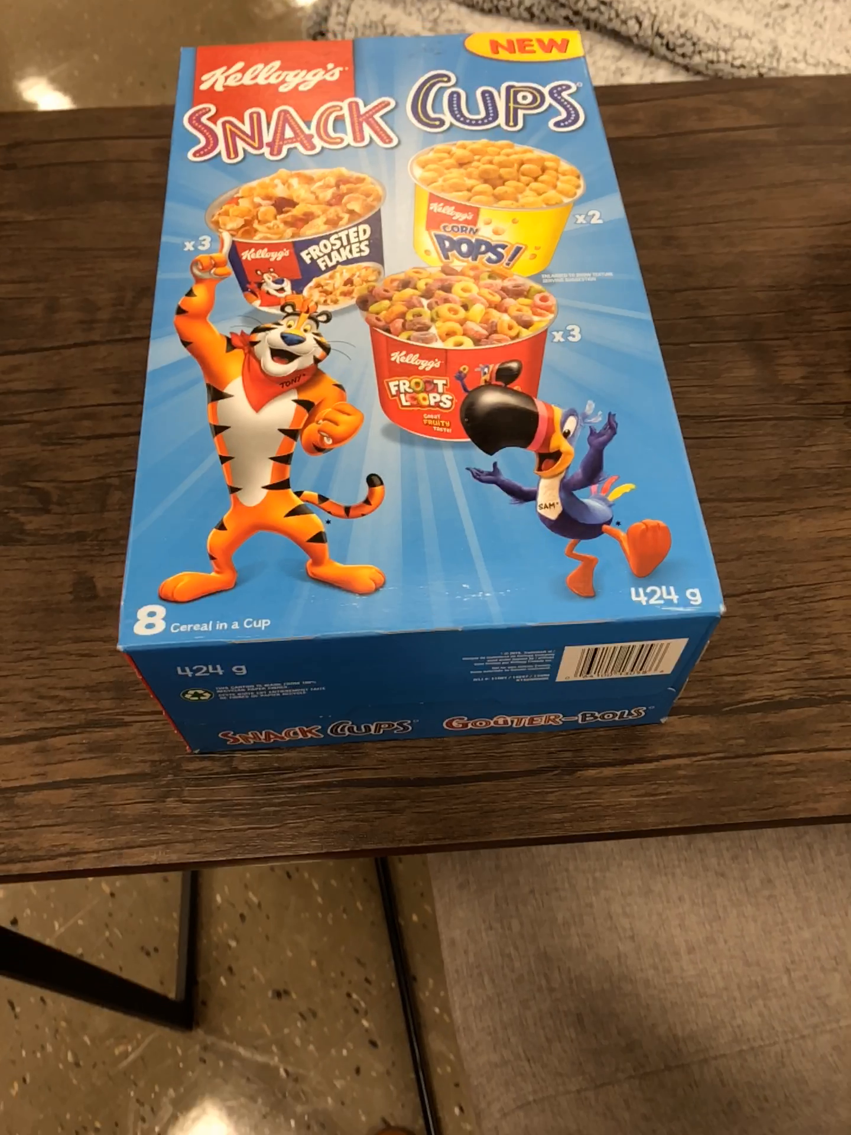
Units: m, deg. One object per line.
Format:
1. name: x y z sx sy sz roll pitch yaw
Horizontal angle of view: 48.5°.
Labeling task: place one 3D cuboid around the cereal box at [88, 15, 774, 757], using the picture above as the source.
1. cereal box: -0.008 -0.097 0.426 0.220 0.100 0.331 -3 61 -2
